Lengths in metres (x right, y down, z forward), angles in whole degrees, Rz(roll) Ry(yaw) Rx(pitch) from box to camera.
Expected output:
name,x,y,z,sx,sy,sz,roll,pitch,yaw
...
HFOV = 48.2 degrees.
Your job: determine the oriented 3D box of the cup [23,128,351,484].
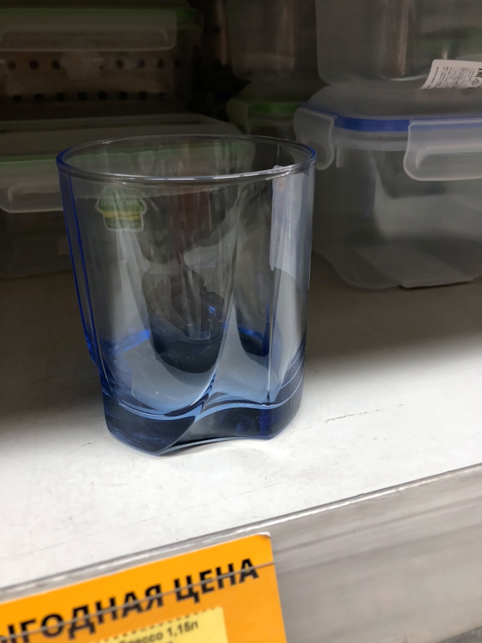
name,x,y,z,sx,sy,sz,roll,pitch,yaw
cup,-0.019,-0.014,0.196,0.085,0.095,0.083,-2,26,1
